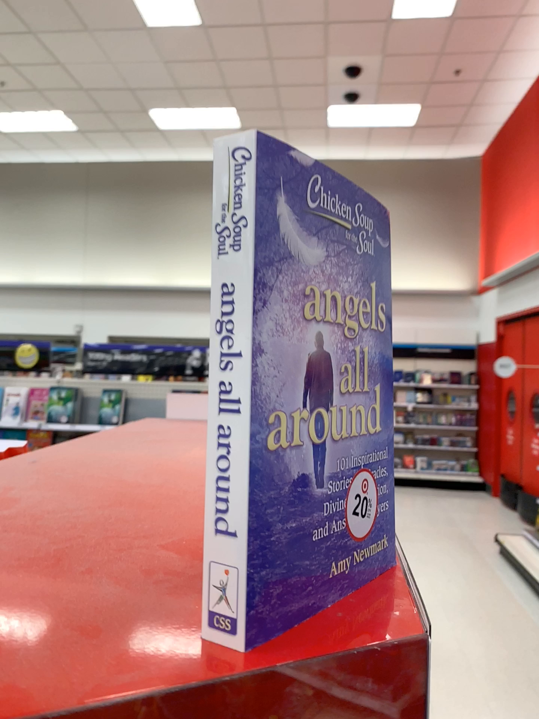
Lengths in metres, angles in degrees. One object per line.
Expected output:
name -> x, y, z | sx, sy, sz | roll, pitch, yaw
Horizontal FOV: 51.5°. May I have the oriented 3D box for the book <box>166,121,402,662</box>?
book -> 0.015, 0.012, 0.287 | 0.041, 0.211, 0.142 | -3, -3, 38
